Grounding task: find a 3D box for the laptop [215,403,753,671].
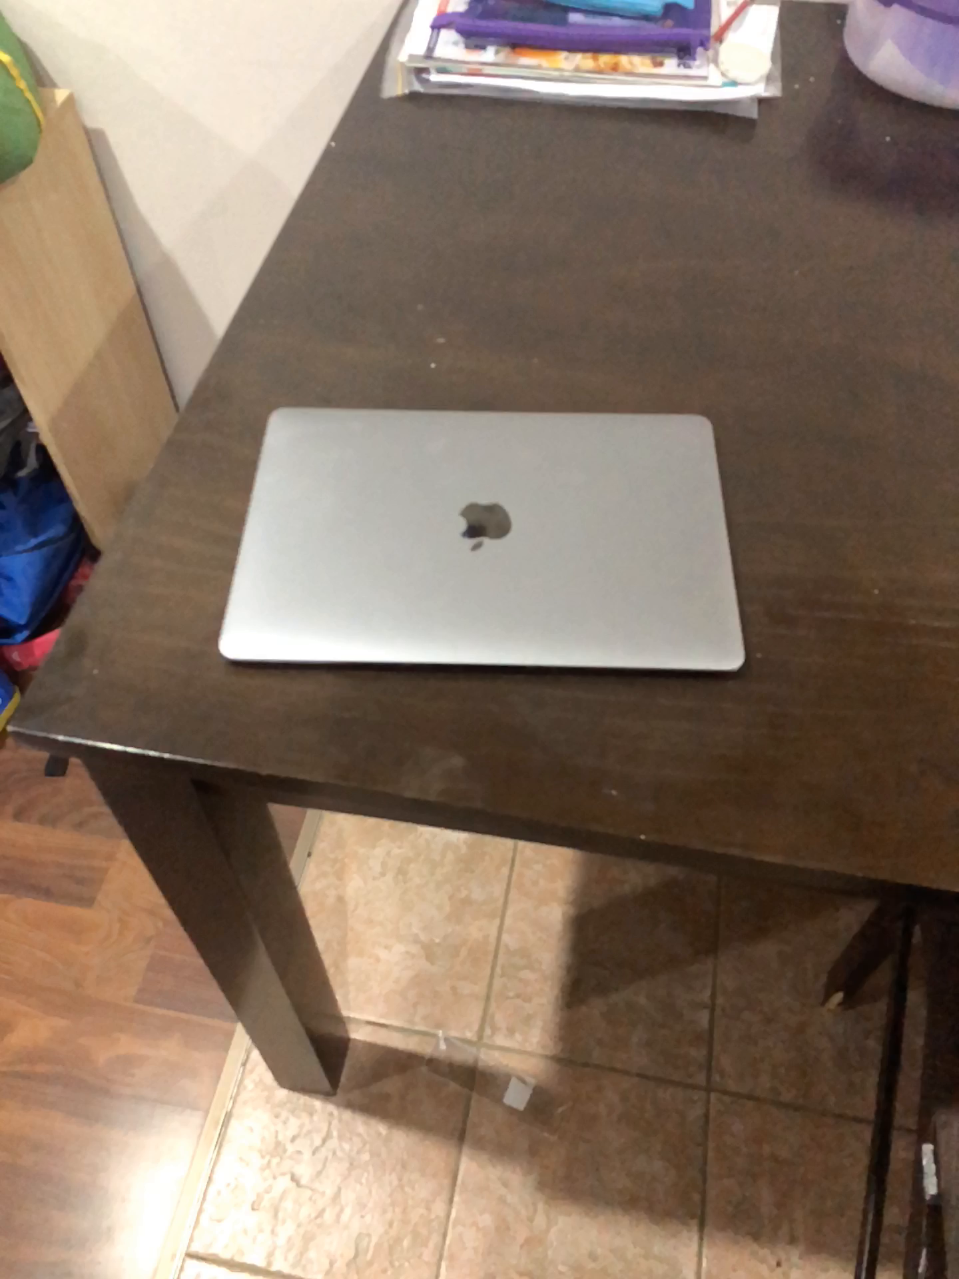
[{"bbox_3d":[0.006,-0.065,0.594,0.275,0.002,0.196,2,53,-1],"label":"laptop"}]
